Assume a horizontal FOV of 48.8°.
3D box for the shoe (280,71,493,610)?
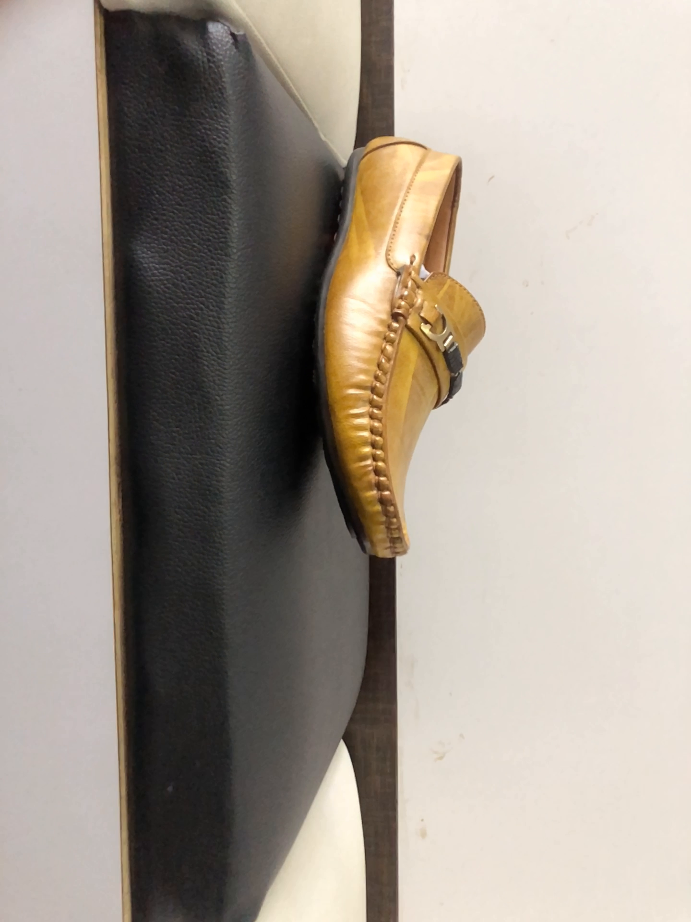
[{"bbox_3d":[0.042,-0.070,0.460,0.171,0.090,0.270,74,19,-58],"label":"shoe"}]
